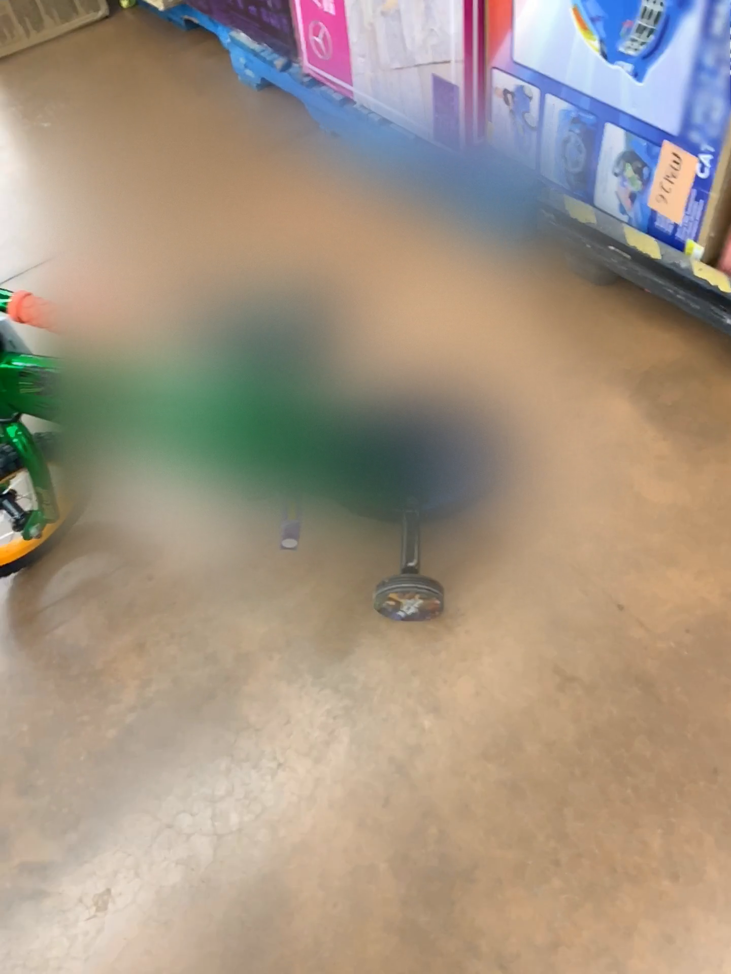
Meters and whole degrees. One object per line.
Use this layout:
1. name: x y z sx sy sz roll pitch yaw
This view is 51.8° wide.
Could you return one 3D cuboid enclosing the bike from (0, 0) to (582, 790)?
1. bike: -0.232 -0.072 0.903 0.828 0.677 0.533 -7 53 2
